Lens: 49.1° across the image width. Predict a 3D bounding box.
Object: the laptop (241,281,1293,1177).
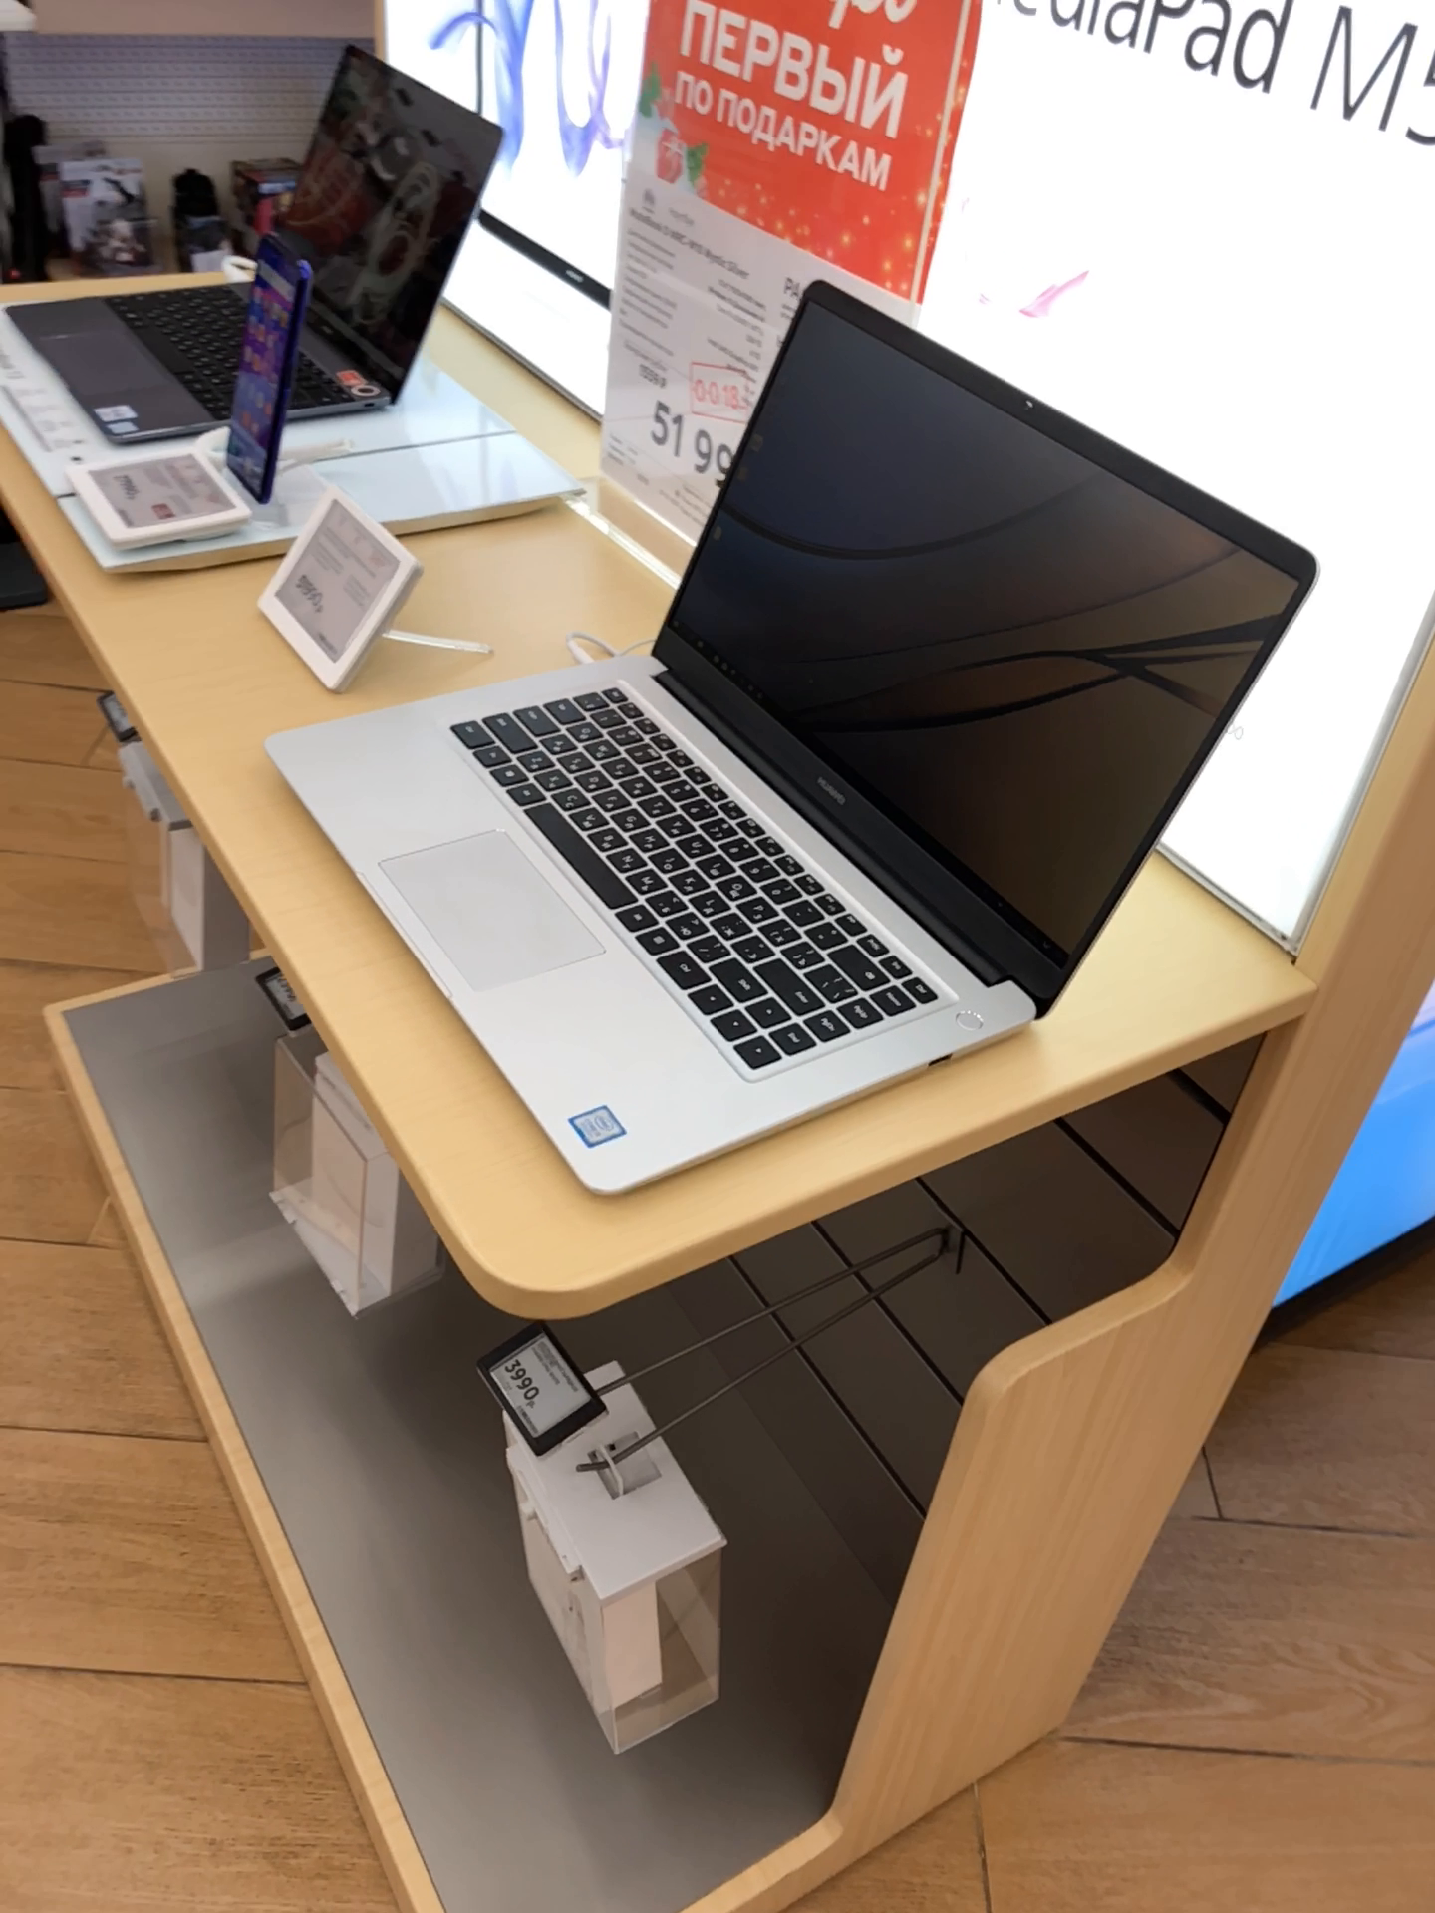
[{"bbox_3d":[0.001,-0.137,0.723,0.306,0.204,0.341,-18,47,-29],"label":"laptop"}]
